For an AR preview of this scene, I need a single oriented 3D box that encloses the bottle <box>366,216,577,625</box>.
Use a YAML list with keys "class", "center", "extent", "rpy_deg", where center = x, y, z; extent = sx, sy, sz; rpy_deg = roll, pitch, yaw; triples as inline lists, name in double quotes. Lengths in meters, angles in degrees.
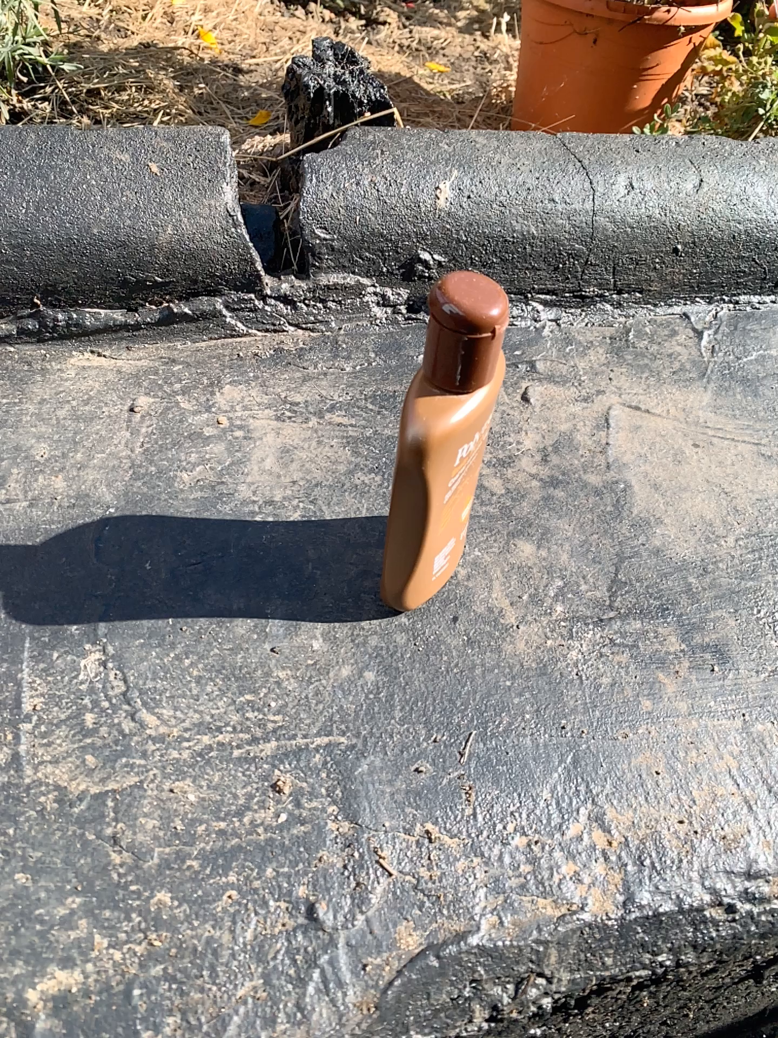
- class: "bottle"
  center: [0.029, -0.033, 0.325]
  extent: [0.040, 0.149, 0.071]
  rpy_deg: [22, 49, 14]
